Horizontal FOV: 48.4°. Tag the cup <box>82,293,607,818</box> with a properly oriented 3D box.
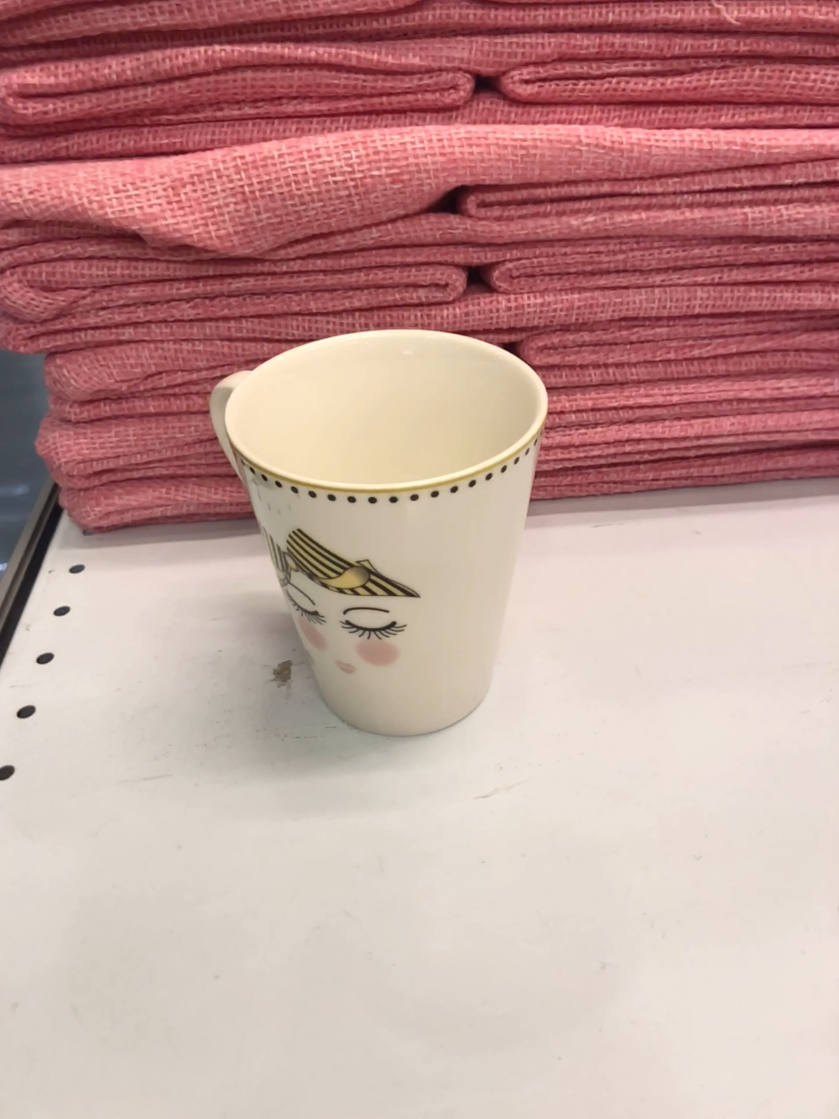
[{"bbox_3d":[-0.015,-0.008,0.281,0.110,0.099,0.091,17,43,27],"label":"cup"}]
